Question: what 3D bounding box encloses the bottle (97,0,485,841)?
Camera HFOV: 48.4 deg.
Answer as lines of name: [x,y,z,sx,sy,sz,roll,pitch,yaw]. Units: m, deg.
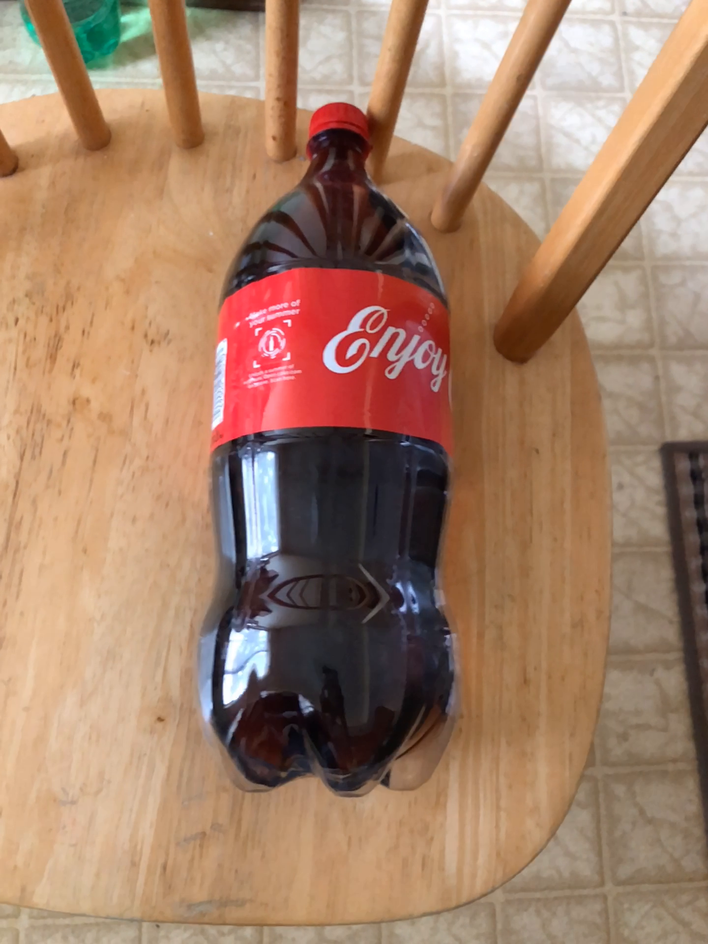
bottle: [-0.016,-0.029,0.344,0.100,0.120,0.320,-7,75,30]
